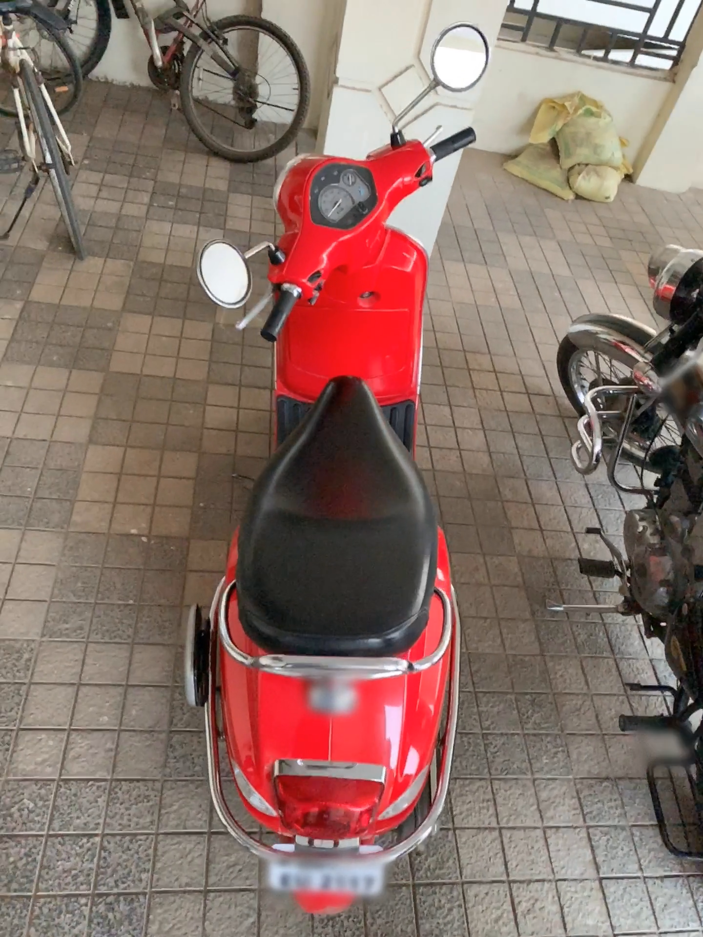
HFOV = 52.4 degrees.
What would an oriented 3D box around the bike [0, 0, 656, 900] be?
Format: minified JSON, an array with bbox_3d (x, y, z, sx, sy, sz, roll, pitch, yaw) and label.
[{"bbox_3d":[-0.245,-0.046,1.648,0.681,1.262,1.553,2,49,-13],"label":"bike"}]
